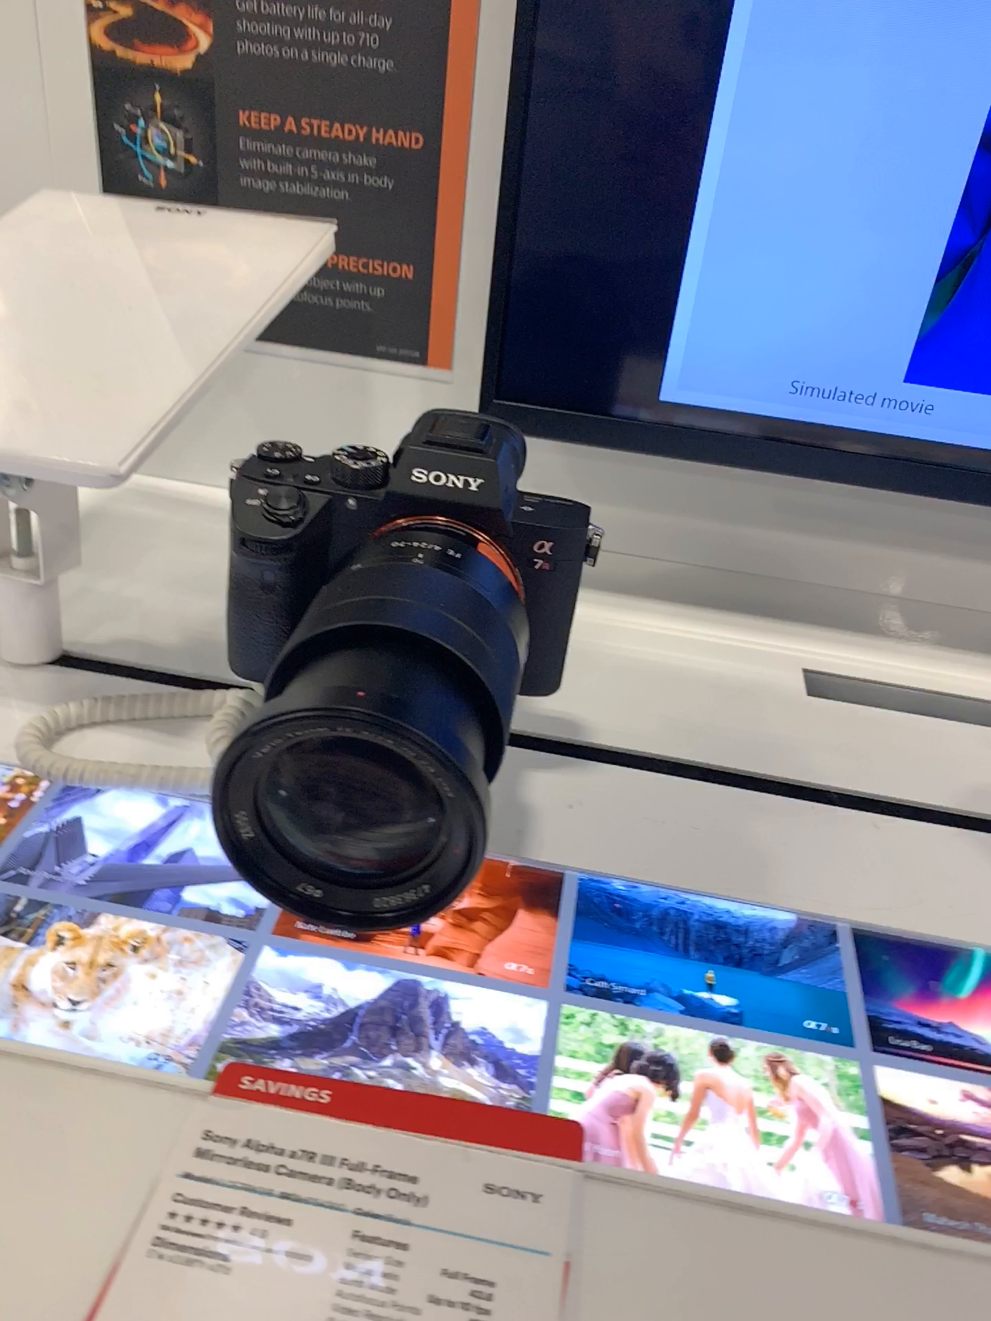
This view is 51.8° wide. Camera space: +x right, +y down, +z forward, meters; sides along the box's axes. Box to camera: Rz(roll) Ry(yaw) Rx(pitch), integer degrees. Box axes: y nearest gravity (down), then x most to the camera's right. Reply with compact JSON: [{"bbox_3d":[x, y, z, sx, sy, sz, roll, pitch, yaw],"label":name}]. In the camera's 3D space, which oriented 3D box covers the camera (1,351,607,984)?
[{"bbox_3d":[-0.037,-0.016,0.326,0.130,0.100,0.194,7,32,2],"label":"camera"}]
